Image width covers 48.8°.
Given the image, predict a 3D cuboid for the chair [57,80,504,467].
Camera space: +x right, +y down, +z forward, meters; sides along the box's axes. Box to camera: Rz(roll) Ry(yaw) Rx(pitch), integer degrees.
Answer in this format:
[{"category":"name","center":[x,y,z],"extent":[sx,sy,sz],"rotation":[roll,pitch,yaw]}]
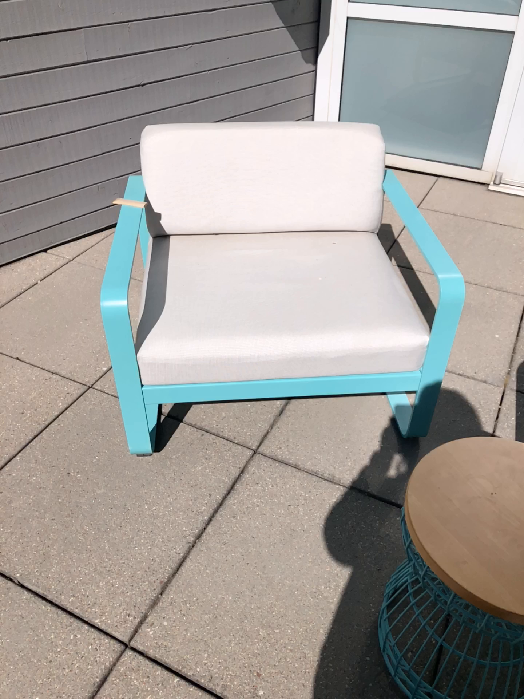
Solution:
[{"category":"chair","center":[0.005,-0.277,1.731],"extent":[0.900,0.766,0.875],"rotation":[-4,38,-5]}]
